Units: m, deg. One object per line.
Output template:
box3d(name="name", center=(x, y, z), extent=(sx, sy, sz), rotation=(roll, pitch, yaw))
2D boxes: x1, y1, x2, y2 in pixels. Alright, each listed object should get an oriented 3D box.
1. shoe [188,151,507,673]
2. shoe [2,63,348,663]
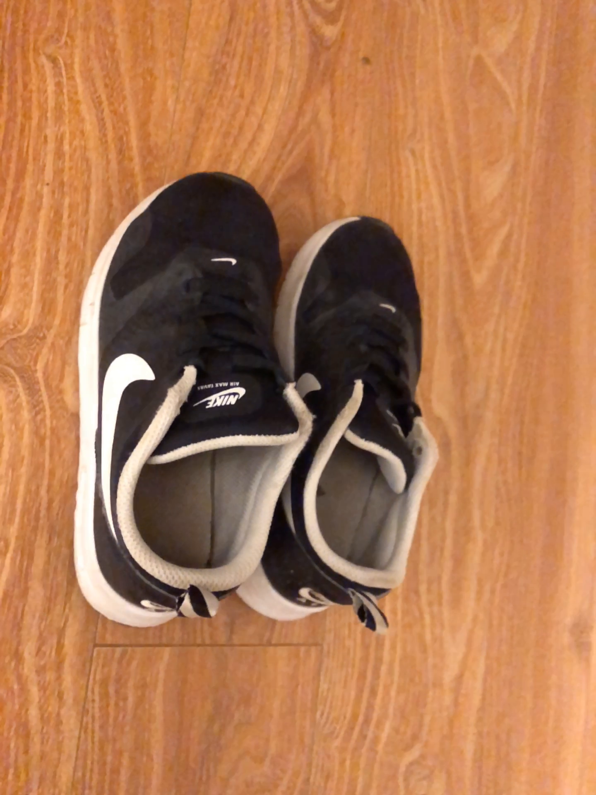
box3d(name="shoe", center=(0.029, 0.008, 0.346), extent=(0.090, 0.080, 0.230), rotation=(21, 75, -27))
box3d(name="shoe", center=(-0.054, -0.011, 0.302), extent=(0.090, 0.080, 0.230), rotation=(16, 77, -28))
